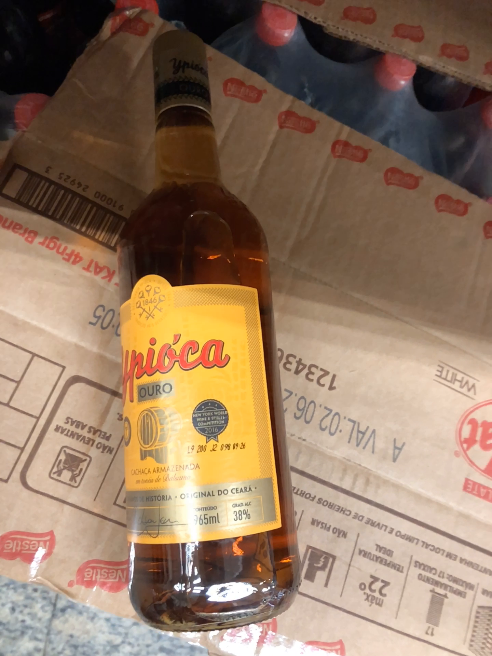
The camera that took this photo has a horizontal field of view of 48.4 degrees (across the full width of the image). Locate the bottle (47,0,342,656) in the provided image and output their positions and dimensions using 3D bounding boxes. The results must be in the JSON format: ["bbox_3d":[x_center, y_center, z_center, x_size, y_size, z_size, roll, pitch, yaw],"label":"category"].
[{"bbox_3d":[-0.030,-0.031,0.268,0.090,0.080,0.310,11,69,-54],"label":"bottle"}]
